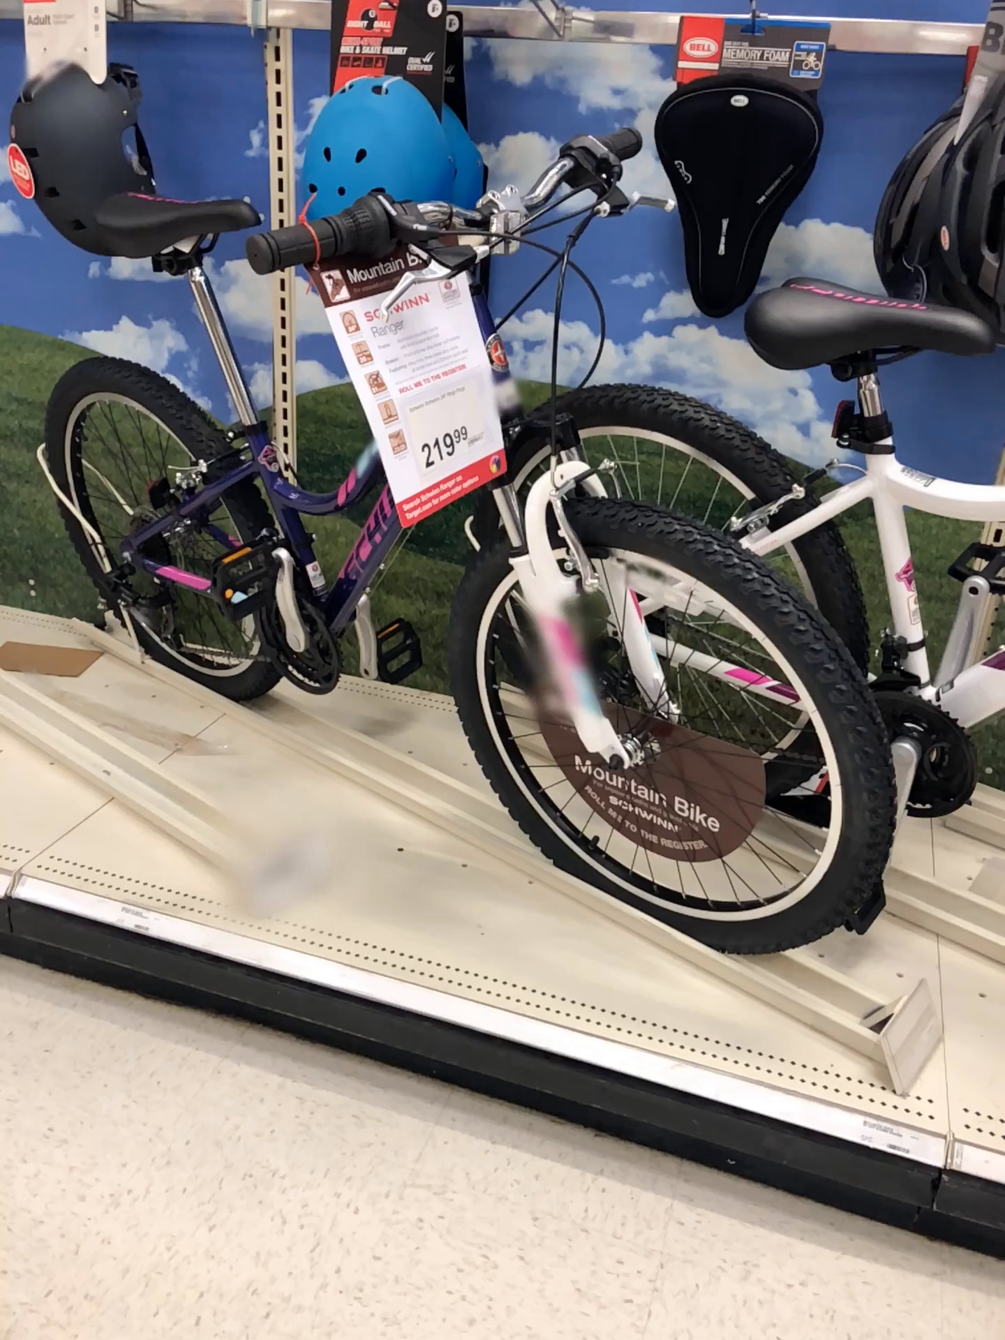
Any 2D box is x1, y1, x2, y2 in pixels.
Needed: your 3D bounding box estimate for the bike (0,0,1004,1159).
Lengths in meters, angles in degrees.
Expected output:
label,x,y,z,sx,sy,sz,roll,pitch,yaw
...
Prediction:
label,x,y,z,sx,sy,sz,roll,pitch,yaw
bike,-0.143,-0.236,1.302,0.569,0.799,1.225,-17,31,-40
